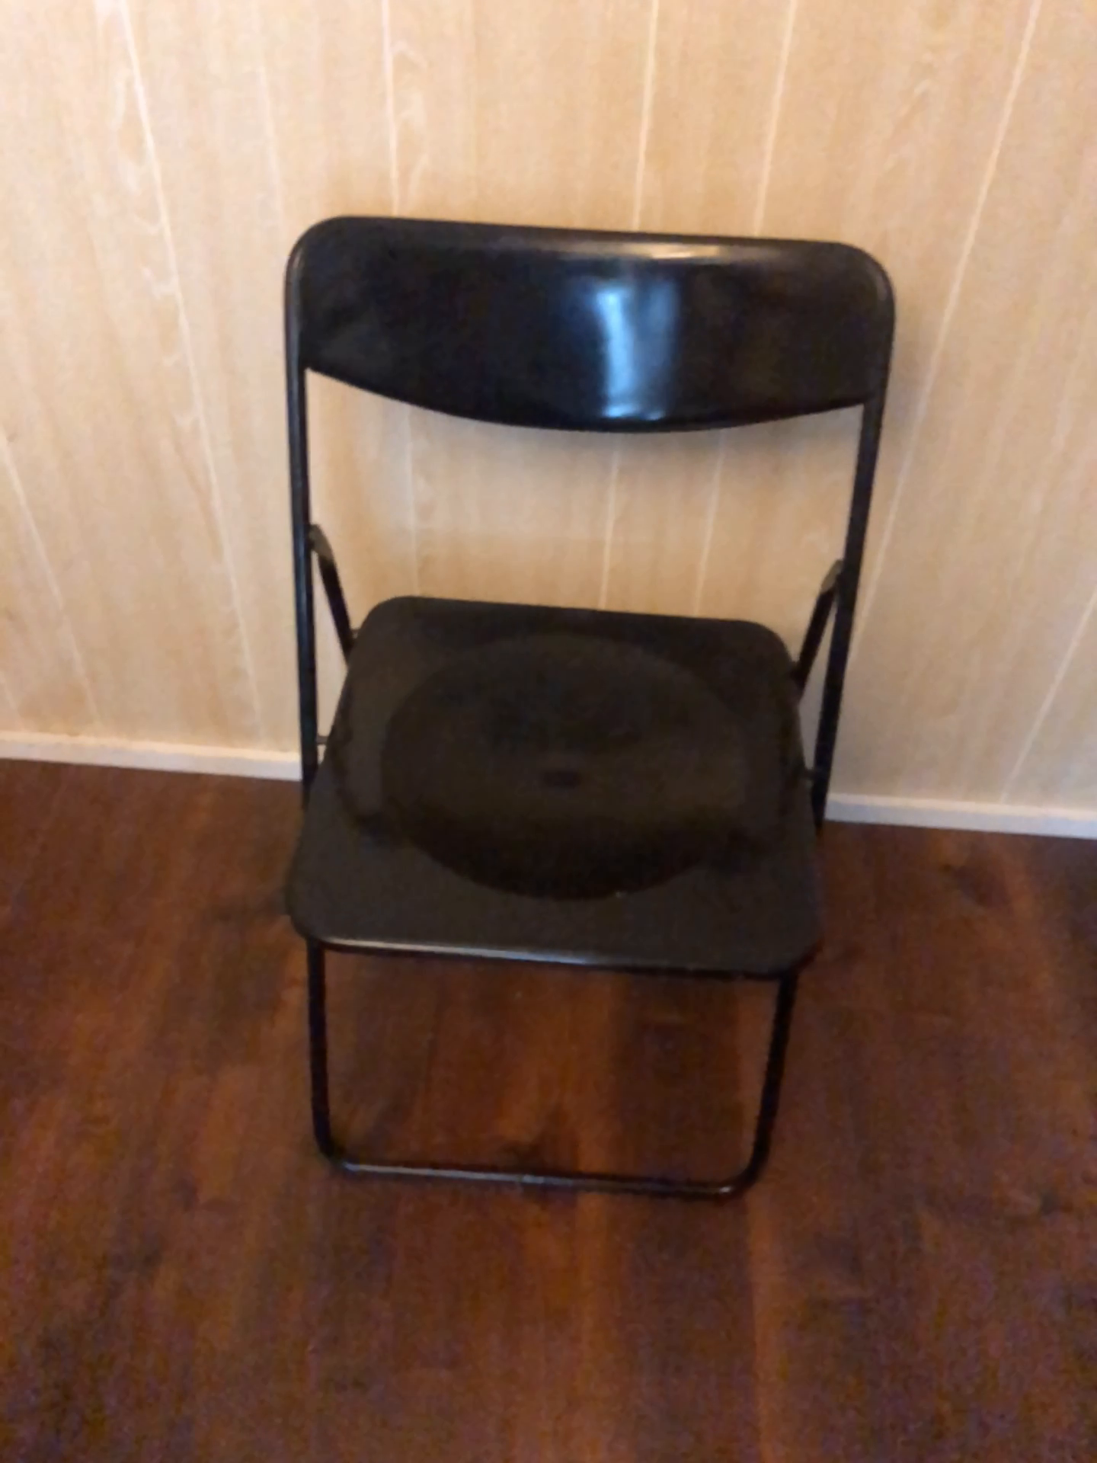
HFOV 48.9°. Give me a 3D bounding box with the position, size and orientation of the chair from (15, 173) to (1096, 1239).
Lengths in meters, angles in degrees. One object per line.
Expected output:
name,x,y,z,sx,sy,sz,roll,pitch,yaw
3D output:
chair,0.005,0.013,0.946,0.490,0.666,0.473,4,47,1
